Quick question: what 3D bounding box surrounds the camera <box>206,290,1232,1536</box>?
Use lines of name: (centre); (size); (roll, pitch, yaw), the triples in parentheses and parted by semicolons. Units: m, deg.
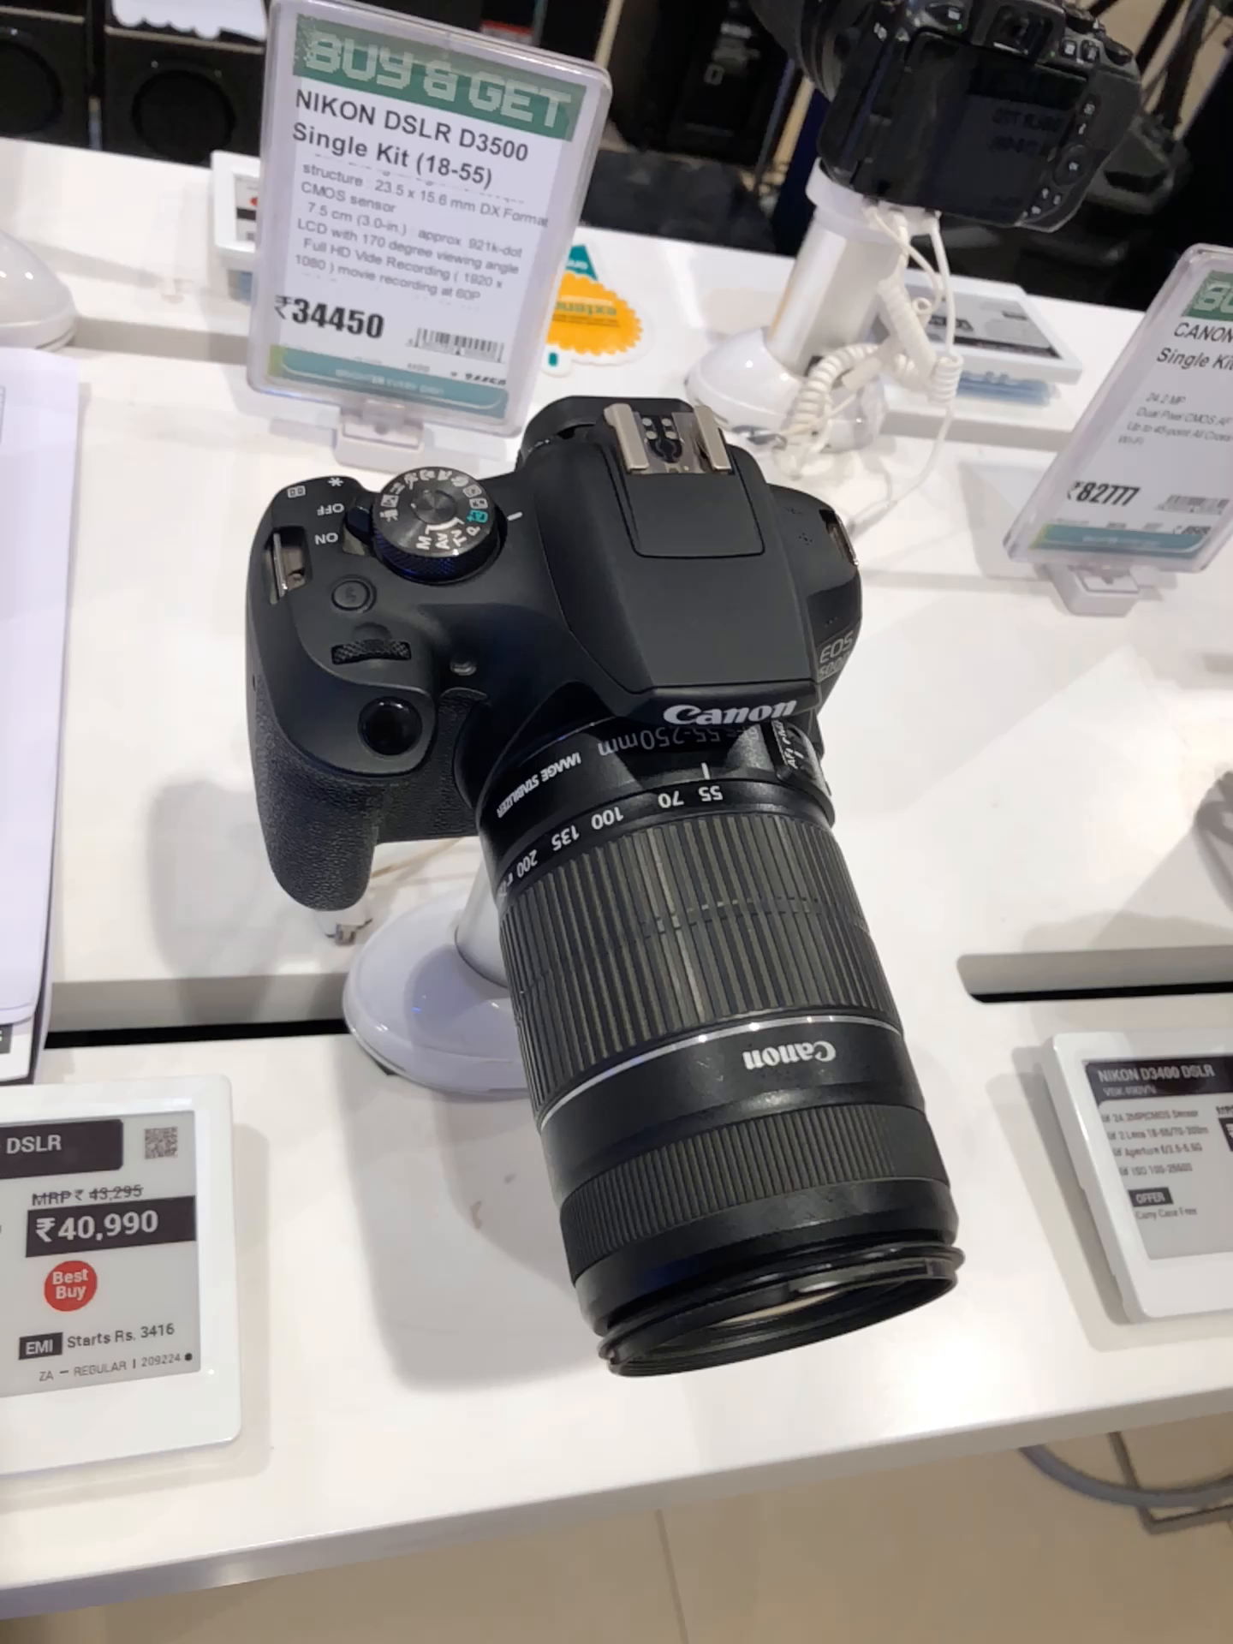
camera: (0.008, 0.001, 0.264); (0.140, 0.089, 0.201); (-5, 55, -23)
